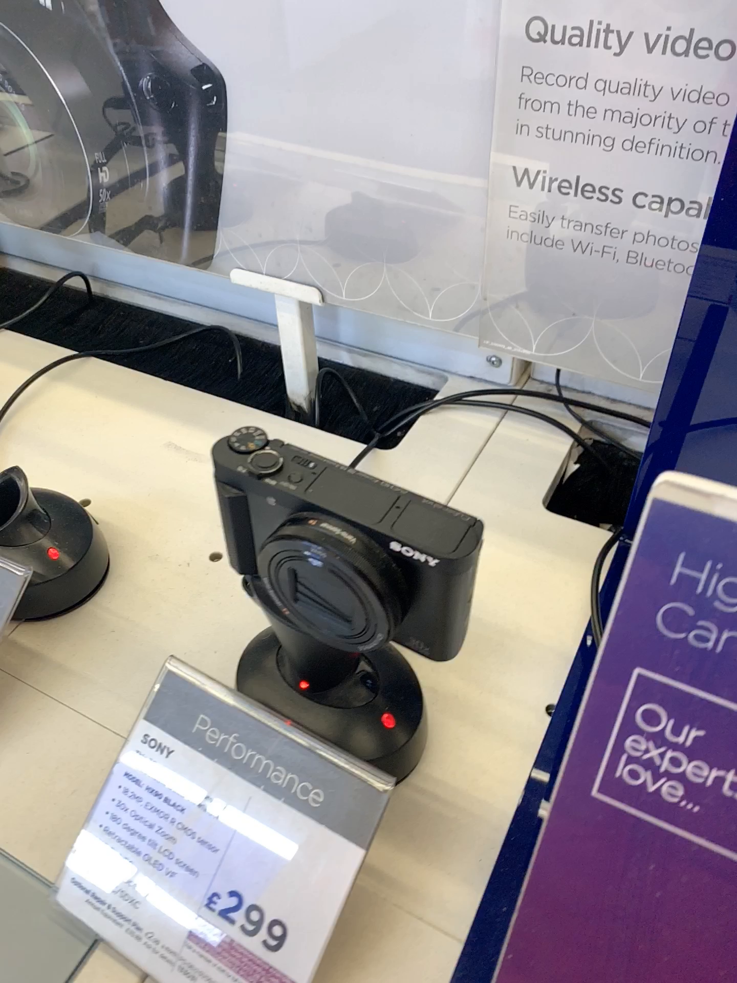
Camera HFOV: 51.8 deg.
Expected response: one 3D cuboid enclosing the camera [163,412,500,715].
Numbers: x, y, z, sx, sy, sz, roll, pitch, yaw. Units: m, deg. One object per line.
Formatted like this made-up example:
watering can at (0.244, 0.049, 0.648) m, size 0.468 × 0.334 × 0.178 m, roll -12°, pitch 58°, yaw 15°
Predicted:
camera at (-0.013, 0.023, 0.260) m, size 0.100 × 0.059 × 0.040 m, roll 22°, pitch 48°, yaw 21°
